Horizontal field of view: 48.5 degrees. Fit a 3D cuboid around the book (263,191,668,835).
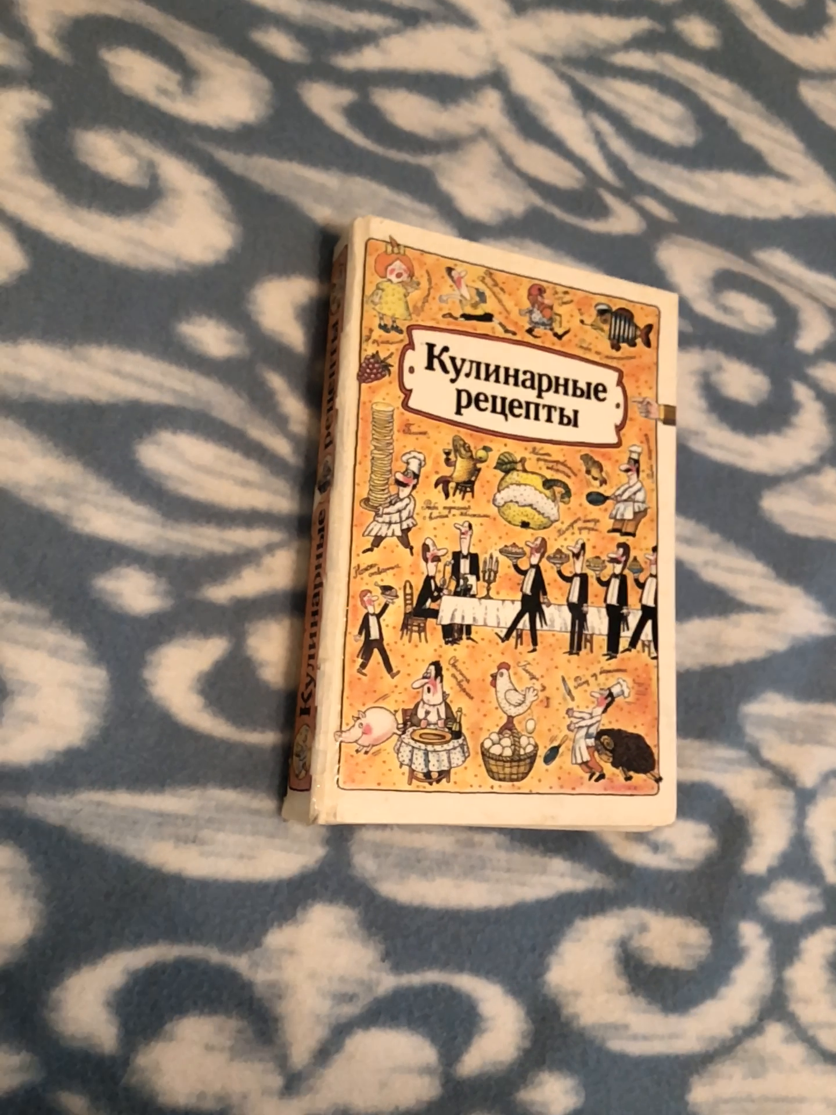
[{"bbox_3d":[0.024,-0.012,0.348,0.142,0.032,0.220,6,79,-20],"label":"book"}]
